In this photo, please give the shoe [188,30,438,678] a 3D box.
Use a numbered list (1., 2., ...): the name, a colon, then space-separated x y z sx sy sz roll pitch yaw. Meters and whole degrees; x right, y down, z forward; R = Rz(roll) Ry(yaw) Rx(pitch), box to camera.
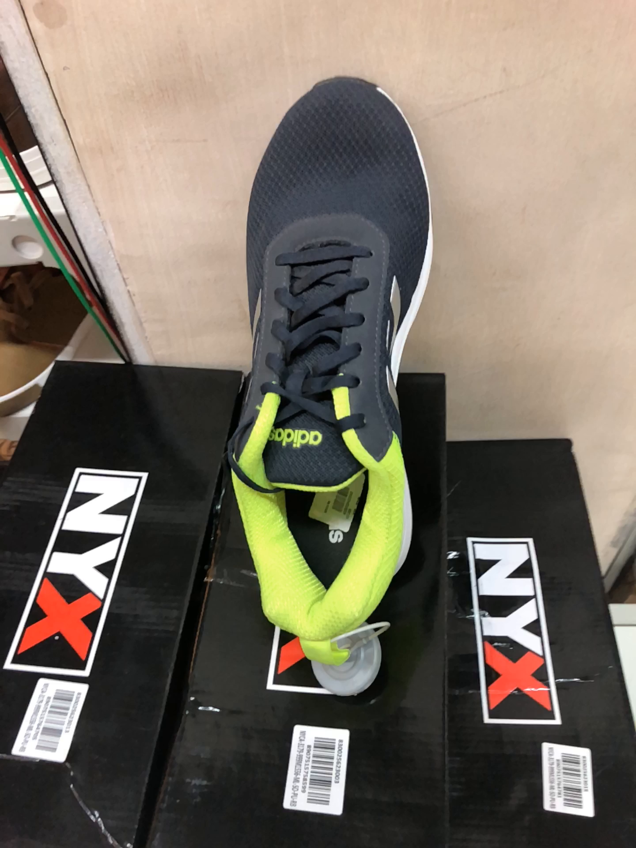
1. shoe: 0.005 -0.030 0.352 0.104 0.098 0.272 0 88 12
